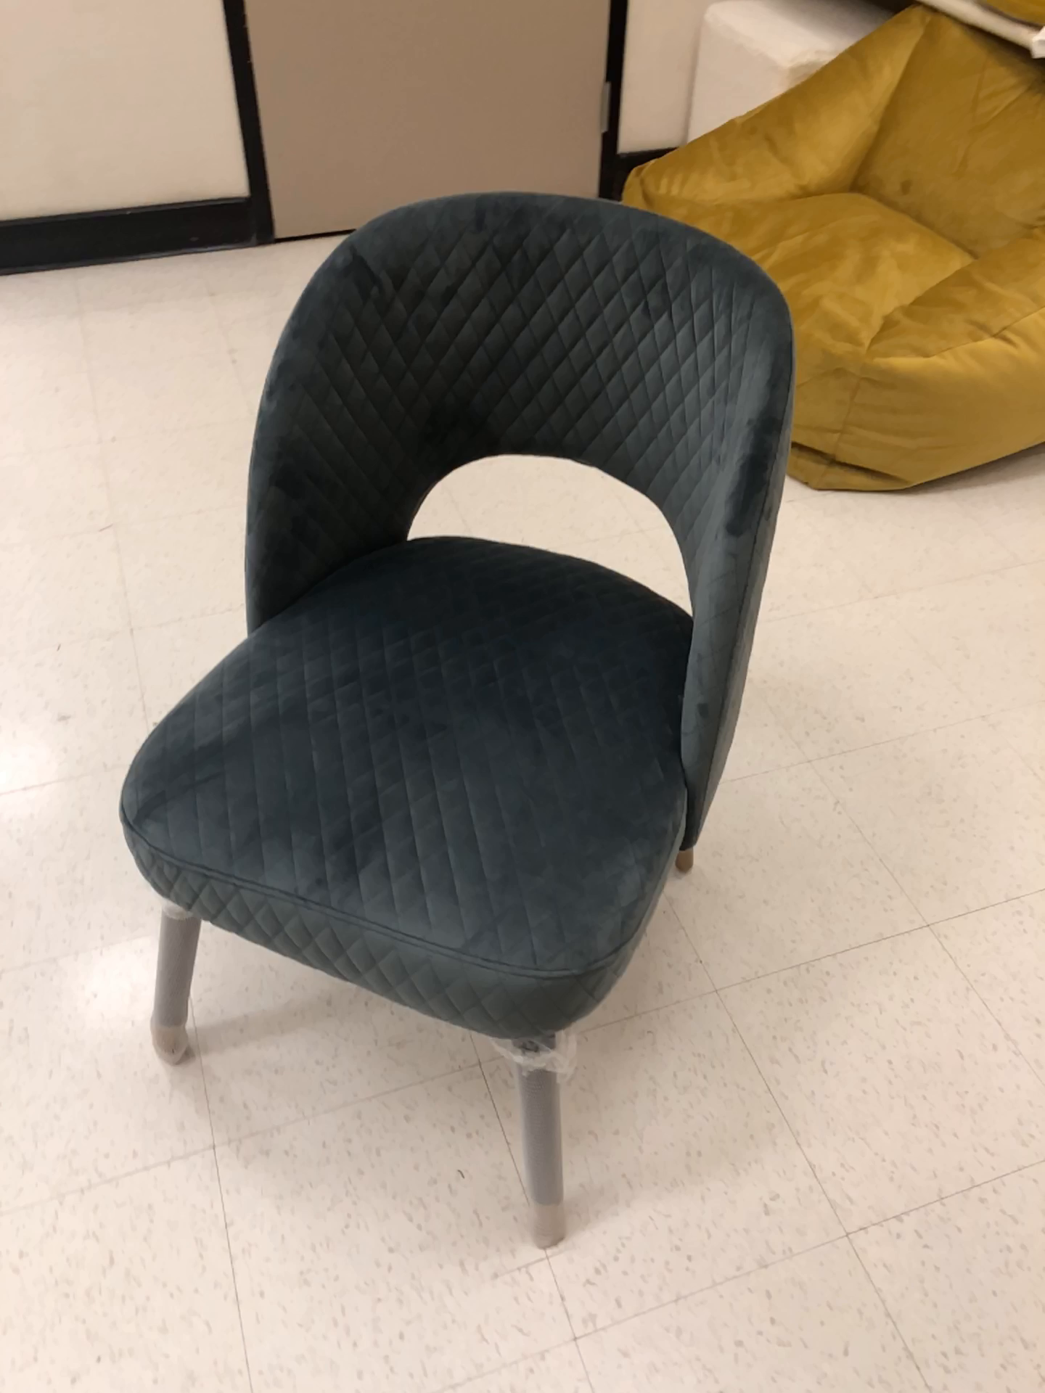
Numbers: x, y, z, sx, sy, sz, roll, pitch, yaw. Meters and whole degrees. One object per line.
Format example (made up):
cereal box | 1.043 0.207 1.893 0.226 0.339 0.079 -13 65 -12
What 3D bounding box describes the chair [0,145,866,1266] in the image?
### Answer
chair | -0.073 0.020 1.171 0.532 0.857 0.582 18 46 17
